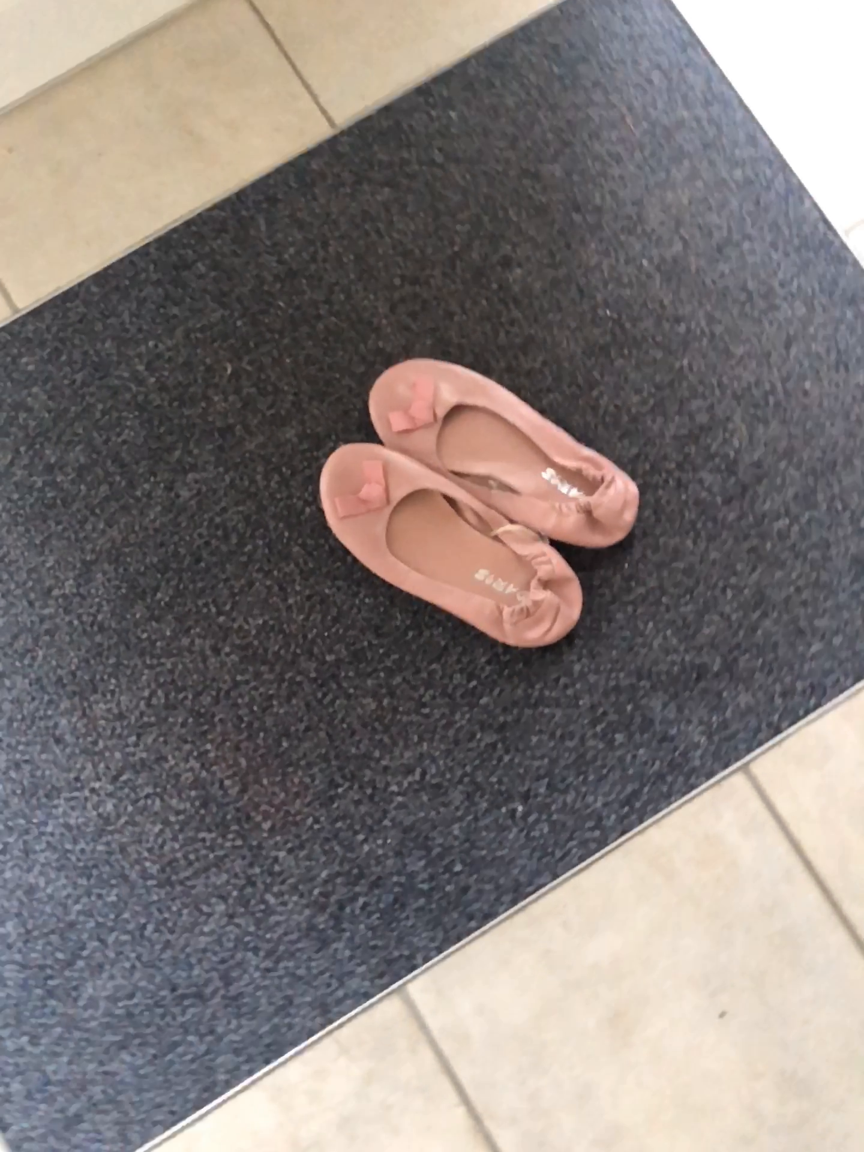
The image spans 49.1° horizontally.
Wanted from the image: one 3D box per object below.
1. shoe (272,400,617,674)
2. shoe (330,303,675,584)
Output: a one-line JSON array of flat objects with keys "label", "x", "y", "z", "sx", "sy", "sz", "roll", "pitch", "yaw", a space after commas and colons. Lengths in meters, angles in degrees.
[{"label": "shoe", "x": 0.010, "y": -0.025, "z": 0.719, "sx": 0.230, "sy": 0.100, "sz": 0.090, "roll": 30, "pitch": 84, "yaw": 5}, {"label": "shoe", "x": 0.050, "y": -0.096, "z": 0.722, "sx": 0.230, "sy": 0.100, "sz": 0.090, "roll": 30, "pitch": 84, "yaw": 5}]
